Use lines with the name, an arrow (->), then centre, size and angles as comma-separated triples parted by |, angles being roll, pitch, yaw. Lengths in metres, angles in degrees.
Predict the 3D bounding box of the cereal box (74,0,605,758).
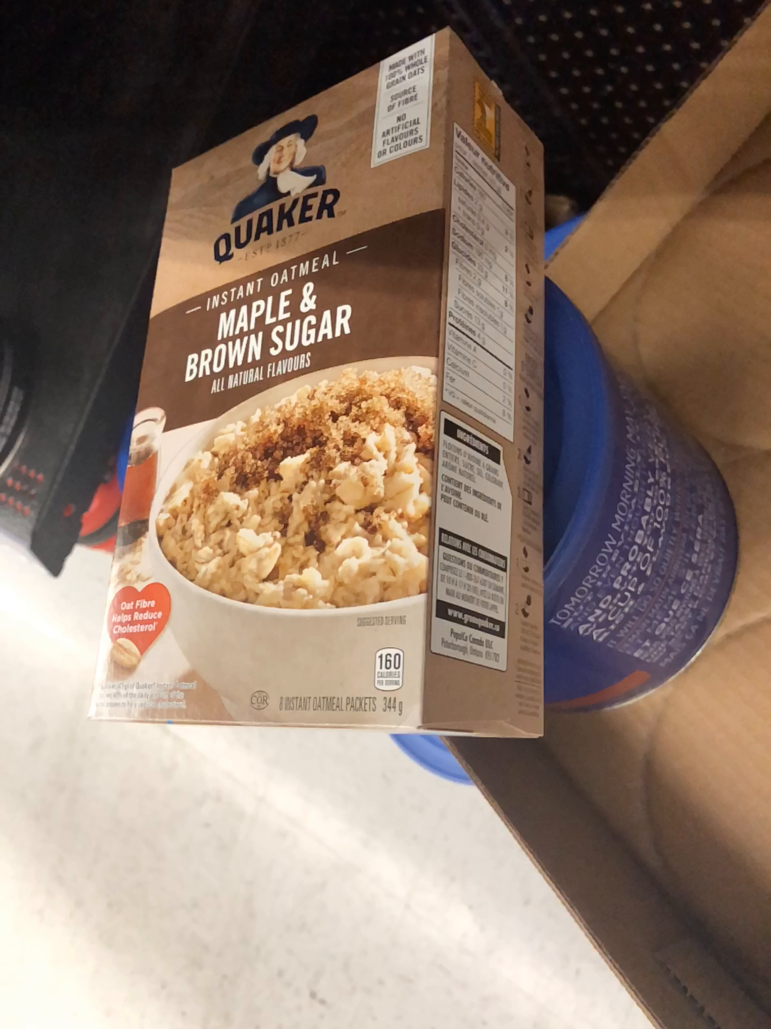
cereal box -> -0.013, -0.030, 0.276 | 0.141, 0.070, 0.200 | -8, 72, 35
